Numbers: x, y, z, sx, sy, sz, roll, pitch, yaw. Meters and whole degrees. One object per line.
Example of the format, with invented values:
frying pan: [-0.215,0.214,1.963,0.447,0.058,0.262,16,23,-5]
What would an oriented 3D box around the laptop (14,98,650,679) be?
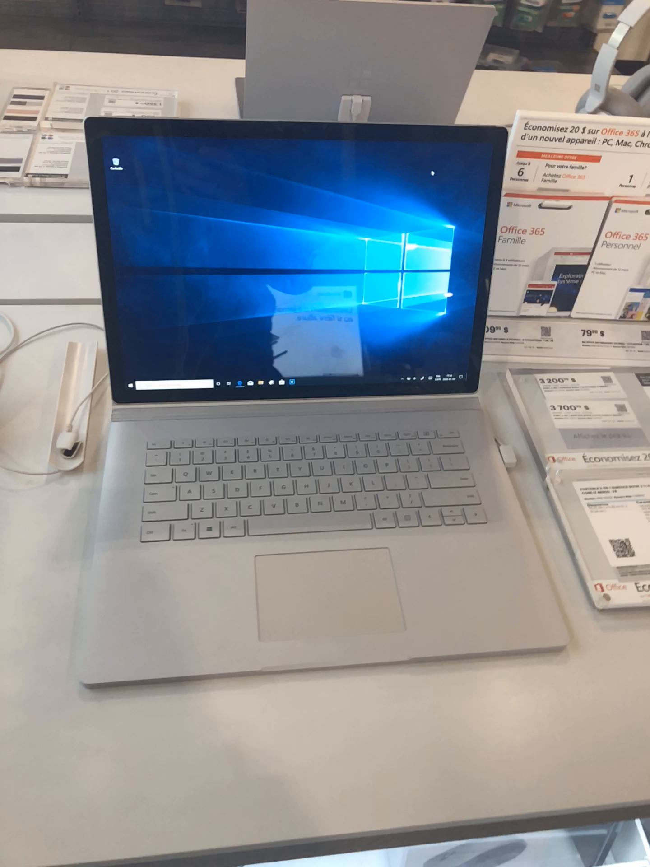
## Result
laptop: [-0.007,-0.053,0.540,0.338,0.207,0.366,-2,49,-9]
